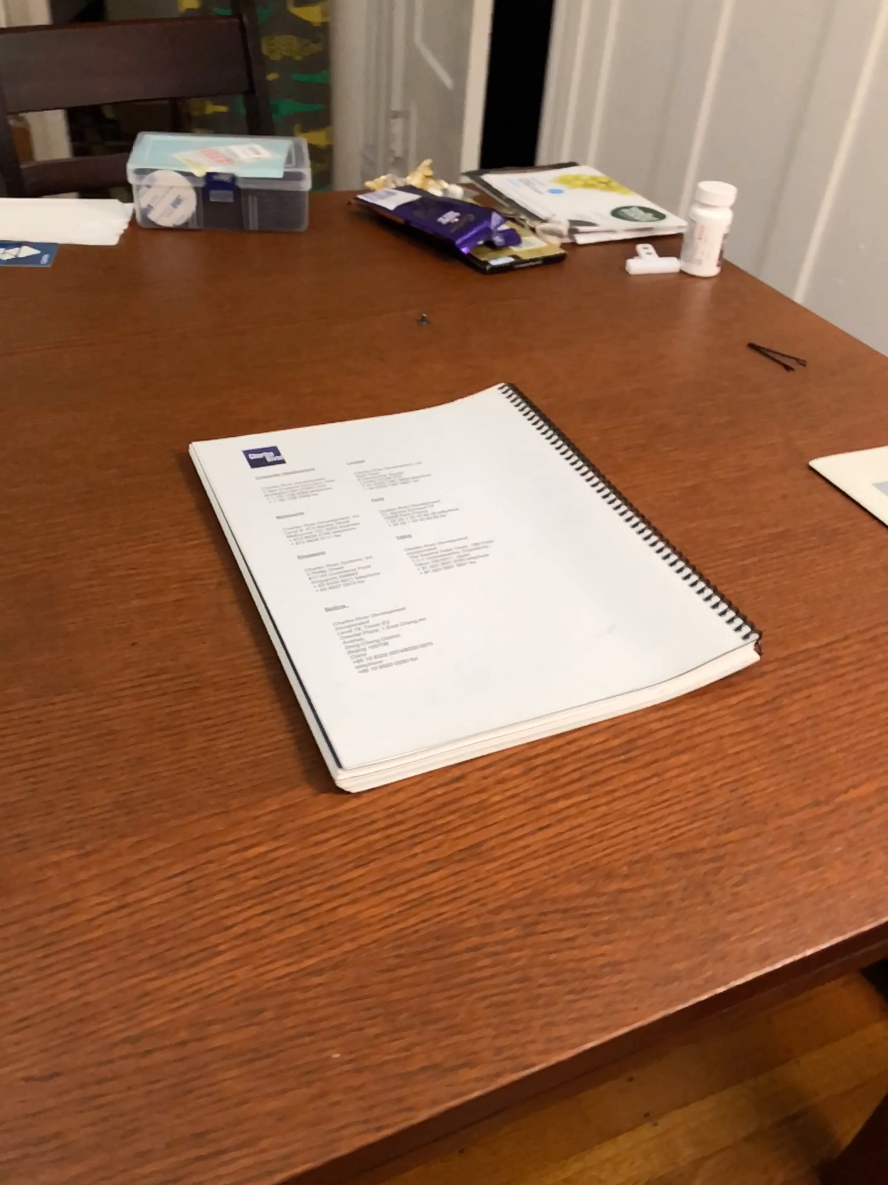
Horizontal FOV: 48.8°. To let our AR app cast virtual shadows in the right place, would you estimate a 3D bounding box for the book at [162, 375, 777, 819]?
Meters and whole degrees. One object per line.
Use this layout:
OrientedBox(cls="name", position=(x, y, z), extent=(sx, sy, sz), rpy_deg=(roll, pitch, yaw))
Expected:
OrientedBox(cls="book", position=(-0.006, -0.029, 0.541), extent=(0.230, 0.020, 0.301), rpy_deg=(-13, 42, -21))
